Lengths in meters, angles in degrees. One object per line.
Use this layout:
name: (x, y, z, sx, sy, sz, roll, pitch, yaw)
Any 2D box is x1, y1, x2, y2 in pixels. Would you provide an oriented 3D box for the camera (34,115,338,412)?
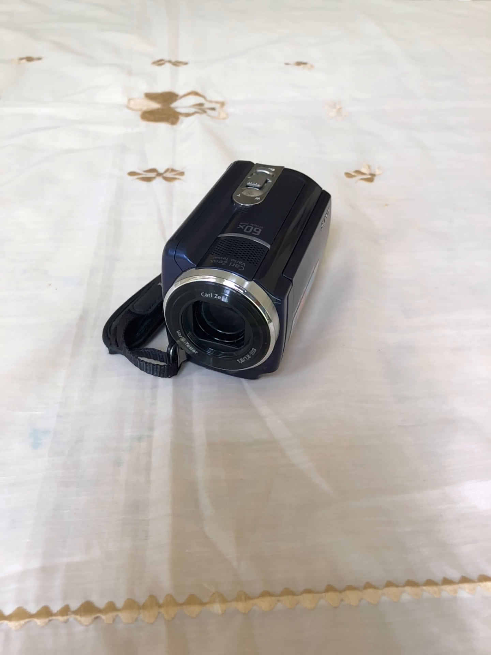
camera: (-0.017, -0.038, 0.258, 0.090, 0.070, 0.120, 13, 43, 13)
